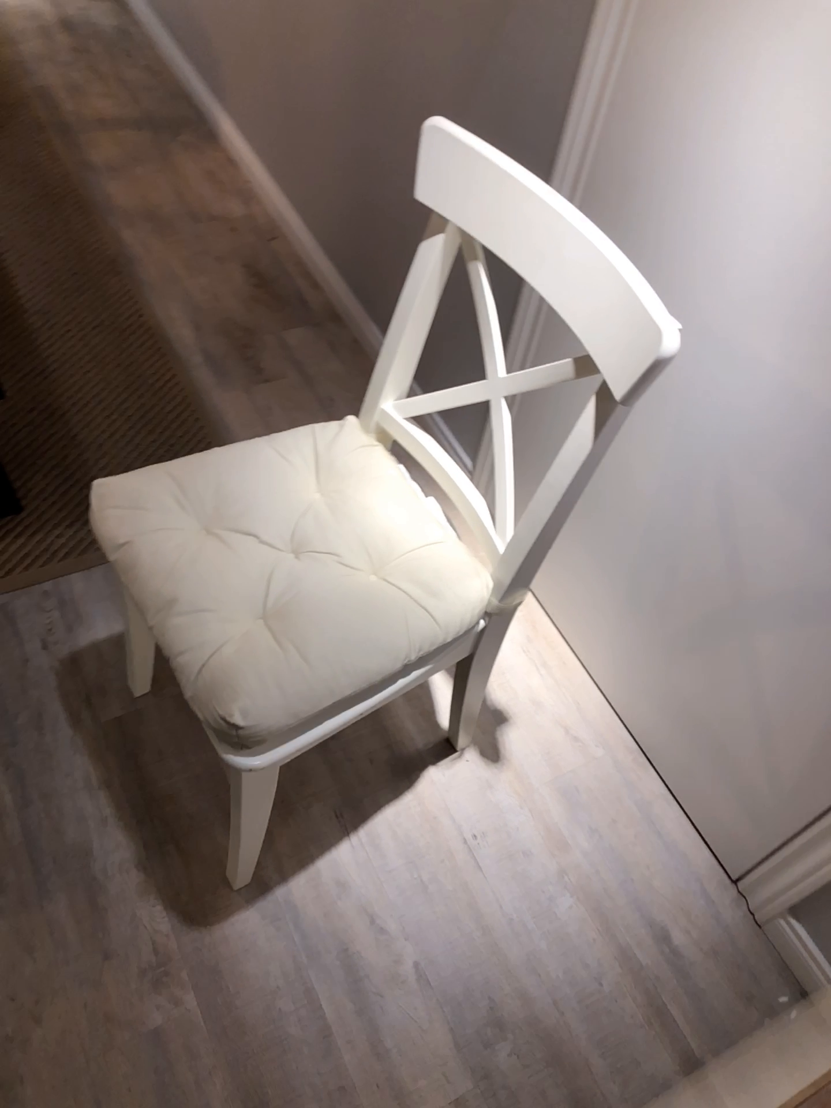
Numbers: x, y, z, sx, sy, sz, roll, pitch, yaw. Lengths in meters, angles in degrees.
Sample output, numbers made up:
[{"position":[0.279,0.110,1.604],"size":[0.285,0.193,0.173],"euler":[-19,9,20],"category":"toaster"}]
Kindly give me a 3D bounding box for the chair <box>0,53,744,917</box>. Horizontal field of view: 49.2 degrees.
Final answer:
[{"position":[-0.110,-0.020,1.113],"size":[0.511,0.875,0.452],"euler":[-25,60,-25],"category":"chair"}]
